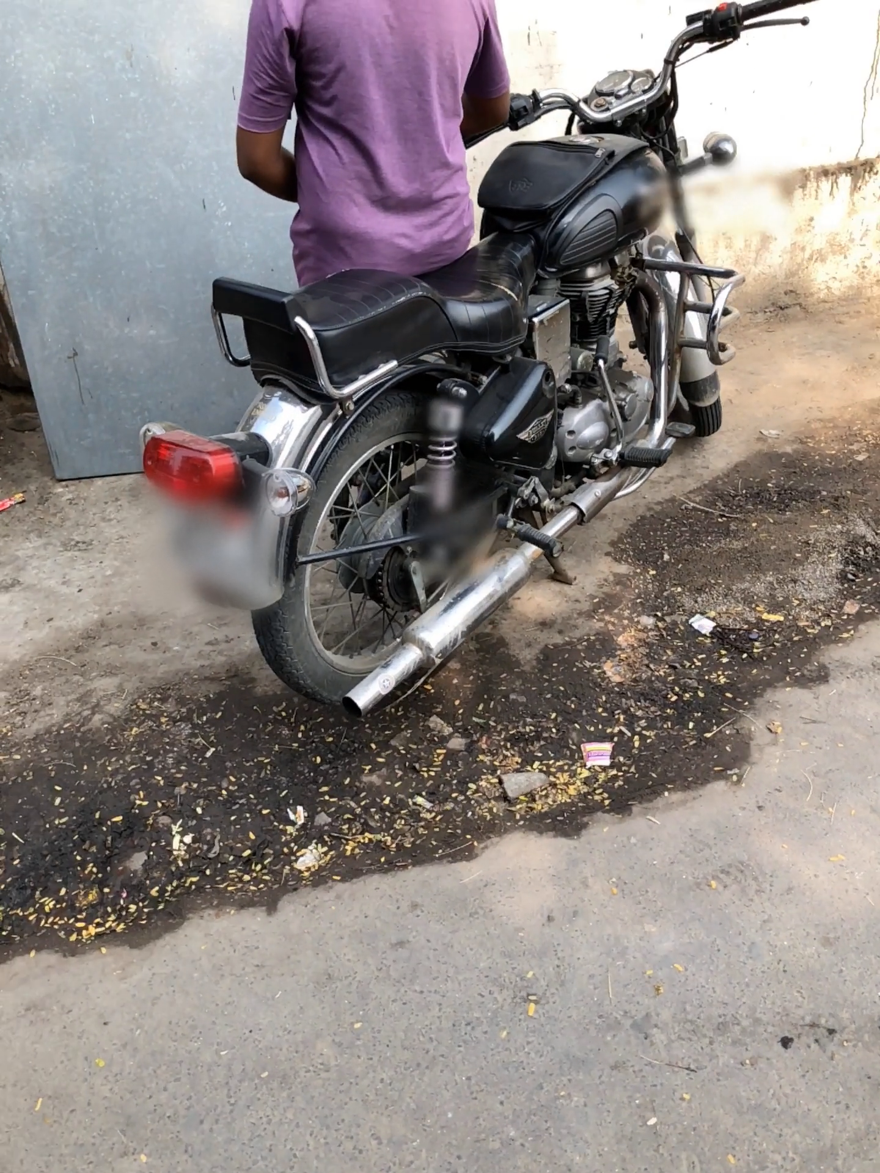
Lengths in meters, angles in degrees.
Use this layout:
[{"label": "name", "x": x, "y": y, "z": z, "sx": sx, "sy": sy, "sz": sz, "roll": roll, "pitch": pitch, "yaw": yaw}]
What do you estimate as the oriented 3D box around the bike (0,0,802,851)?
[{"label": "bike", "x": 0.136, "y": -0.667, "z": 2.296, "sx": 0.838, "sy": 1.173, "sz": 1.932, "roll": 15, "pitch": 42, "yaw": 30}]
